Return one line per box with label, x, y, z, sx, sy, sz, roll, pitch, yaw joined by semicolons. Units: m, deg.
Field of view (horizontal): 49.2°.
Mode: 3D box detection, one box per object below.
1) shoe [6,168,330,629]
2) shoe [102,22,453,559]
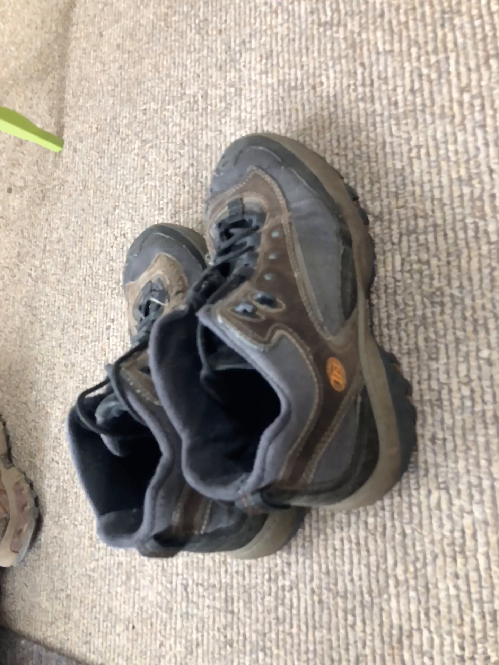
shoe;-0.073;0.039;0.408;0.116;0.135;0.280;-37;58;28
shoe;0.008;-0.020;0.351;0.118;0.137;0.280;-25;65;34
